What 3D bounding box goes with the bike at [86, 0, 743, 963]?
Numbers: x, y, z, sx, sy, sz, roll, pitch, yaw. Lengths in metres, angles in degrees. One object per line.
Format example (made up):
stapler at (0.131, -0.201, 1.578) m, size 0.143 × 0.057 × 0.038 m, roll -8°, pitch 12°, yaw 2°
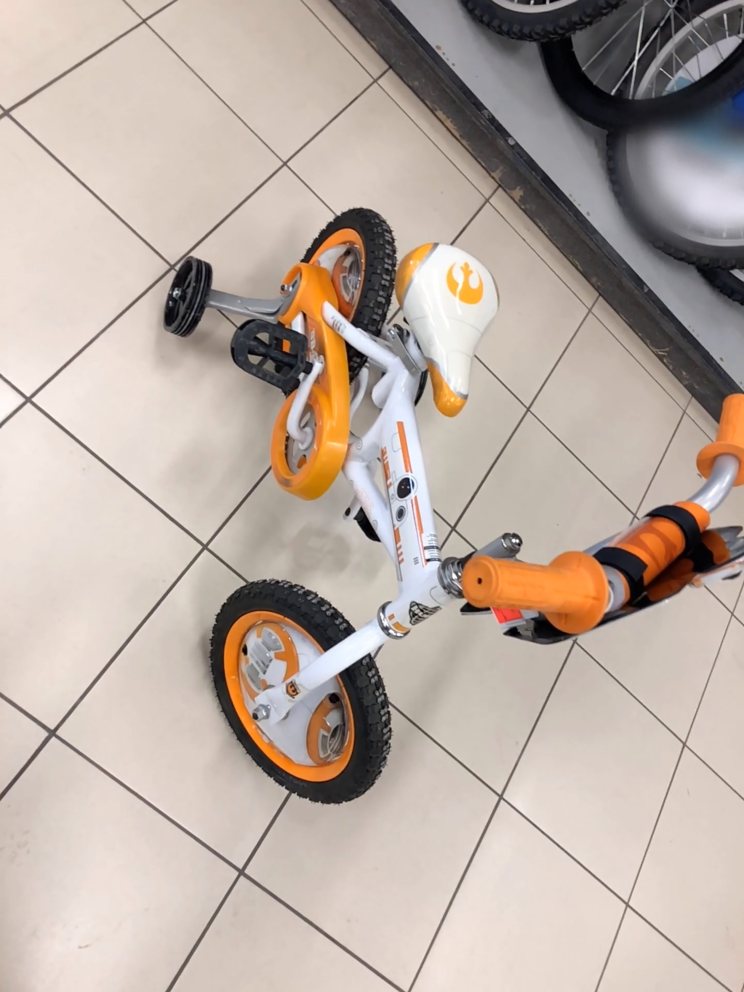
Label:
bike at (0.012, -0.081, 0.922) m, size 0.436 × 0.715 × 0.815 m, roll 7°, pitch 74°, yaw -28°
